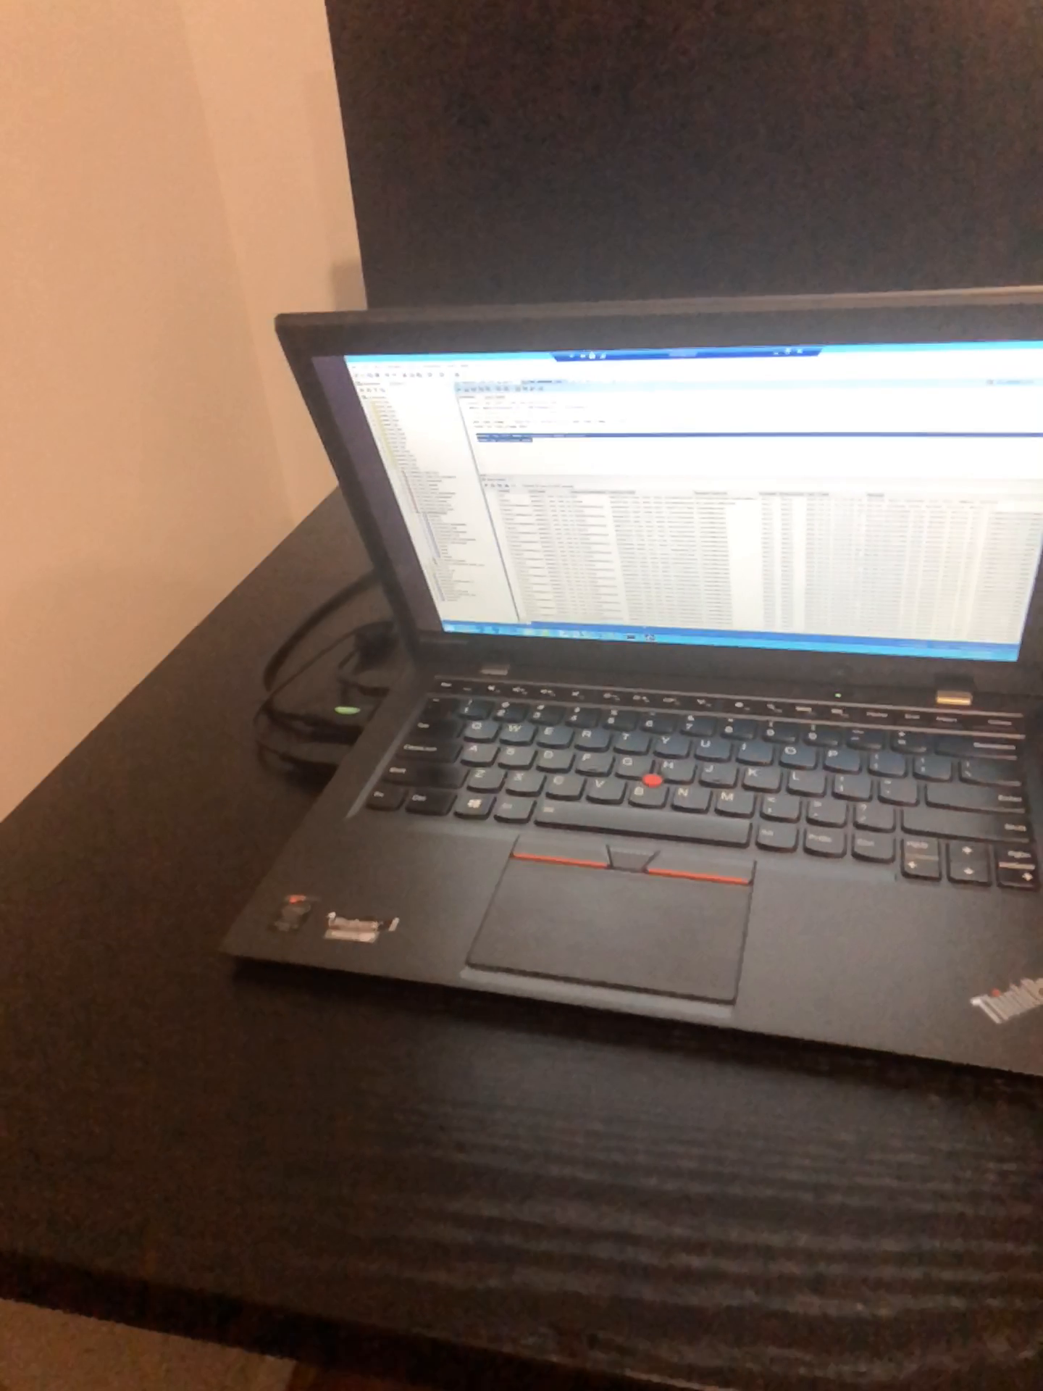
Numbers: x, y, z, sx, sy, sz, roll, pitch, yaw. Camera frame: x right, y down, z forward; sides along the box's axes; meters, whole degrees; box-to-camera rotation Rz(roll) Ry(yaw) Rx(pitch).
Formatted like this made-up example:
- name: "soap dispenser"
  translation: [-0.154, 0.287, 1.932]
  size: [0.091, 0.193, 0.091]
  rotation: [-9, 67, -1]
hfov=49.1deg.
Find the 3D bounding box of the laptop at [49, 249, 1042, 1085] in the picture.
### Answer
- name: "laptop"
  translation: [0.057, -0.040, 0.461]
  size: [0.340, 0.214, 0.245]
  rotation: [3, 30, 17]
